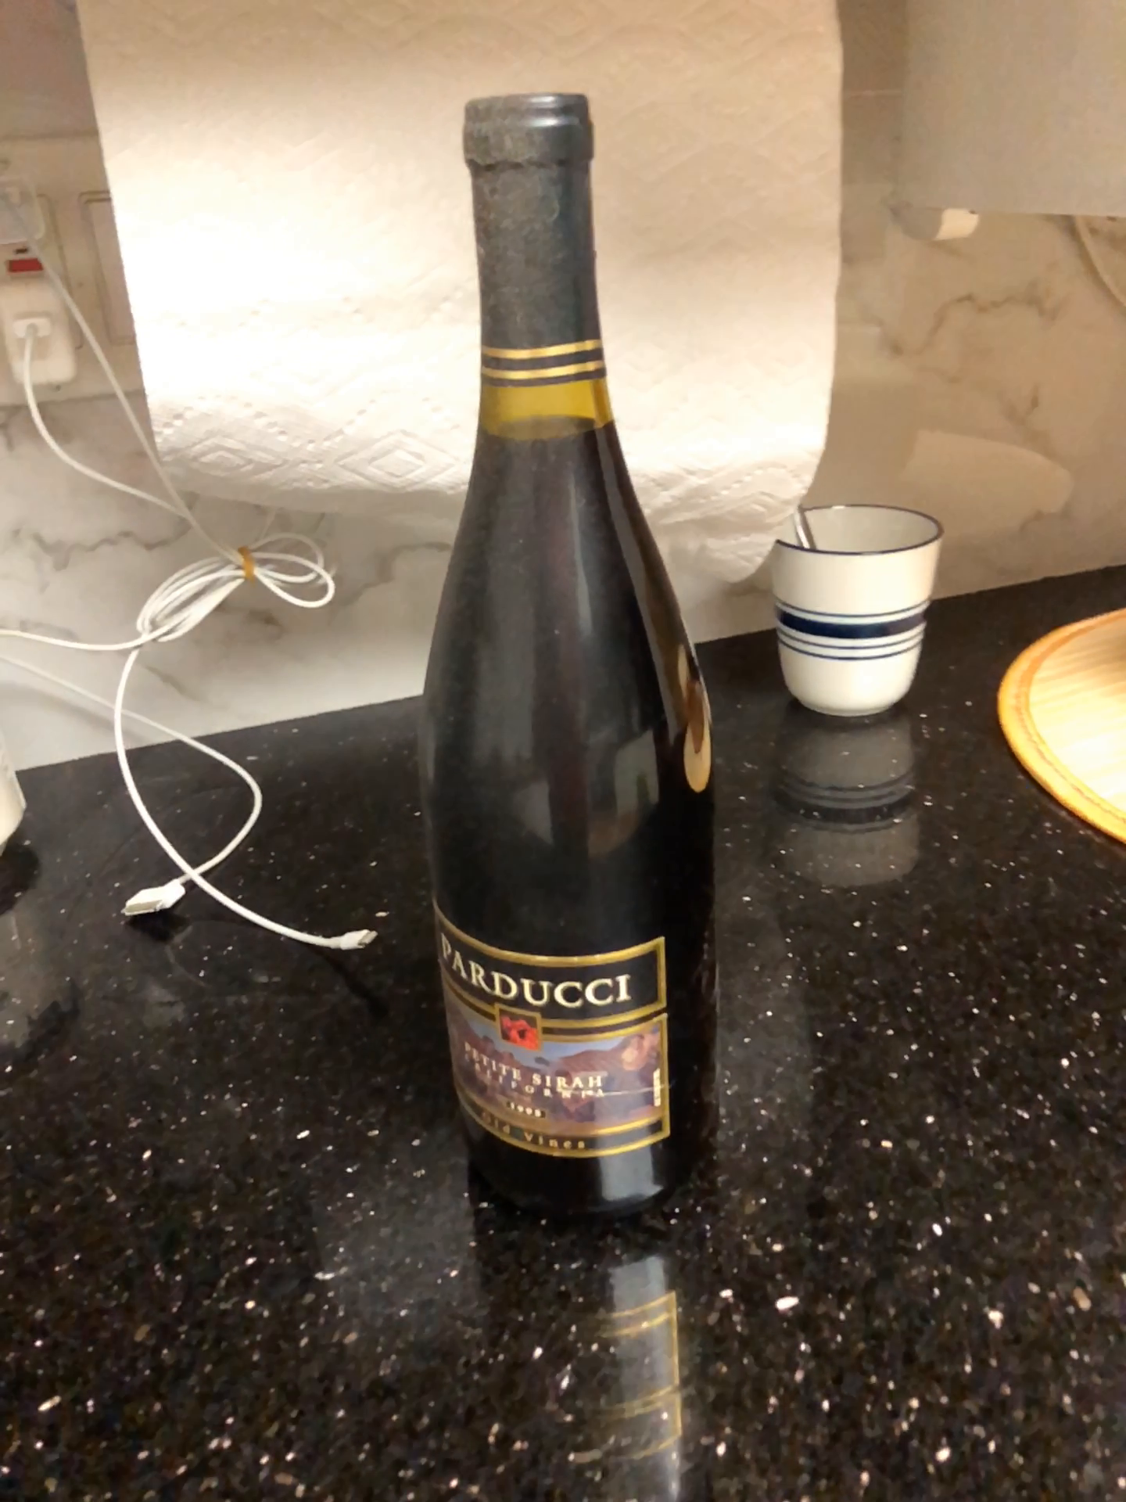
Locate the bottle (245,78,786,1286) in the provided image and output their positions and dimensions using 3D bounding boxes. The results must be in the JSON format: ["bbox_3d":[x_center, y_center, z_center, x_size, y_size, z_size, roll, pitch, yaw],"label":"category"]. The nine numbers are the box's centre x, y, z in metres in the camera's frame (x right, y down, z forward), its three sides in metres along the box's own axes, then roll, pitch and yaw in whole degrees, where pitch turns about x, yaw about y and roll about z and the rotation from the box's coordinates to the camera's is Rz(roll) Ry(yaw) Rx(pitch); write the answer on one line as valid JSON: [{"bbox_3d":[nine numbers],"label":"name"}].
[{"bbox_3d":[0.003,-0.009,0.339,0.090,0.298,0.090,-3,25,2],"label":"bottle"}]
